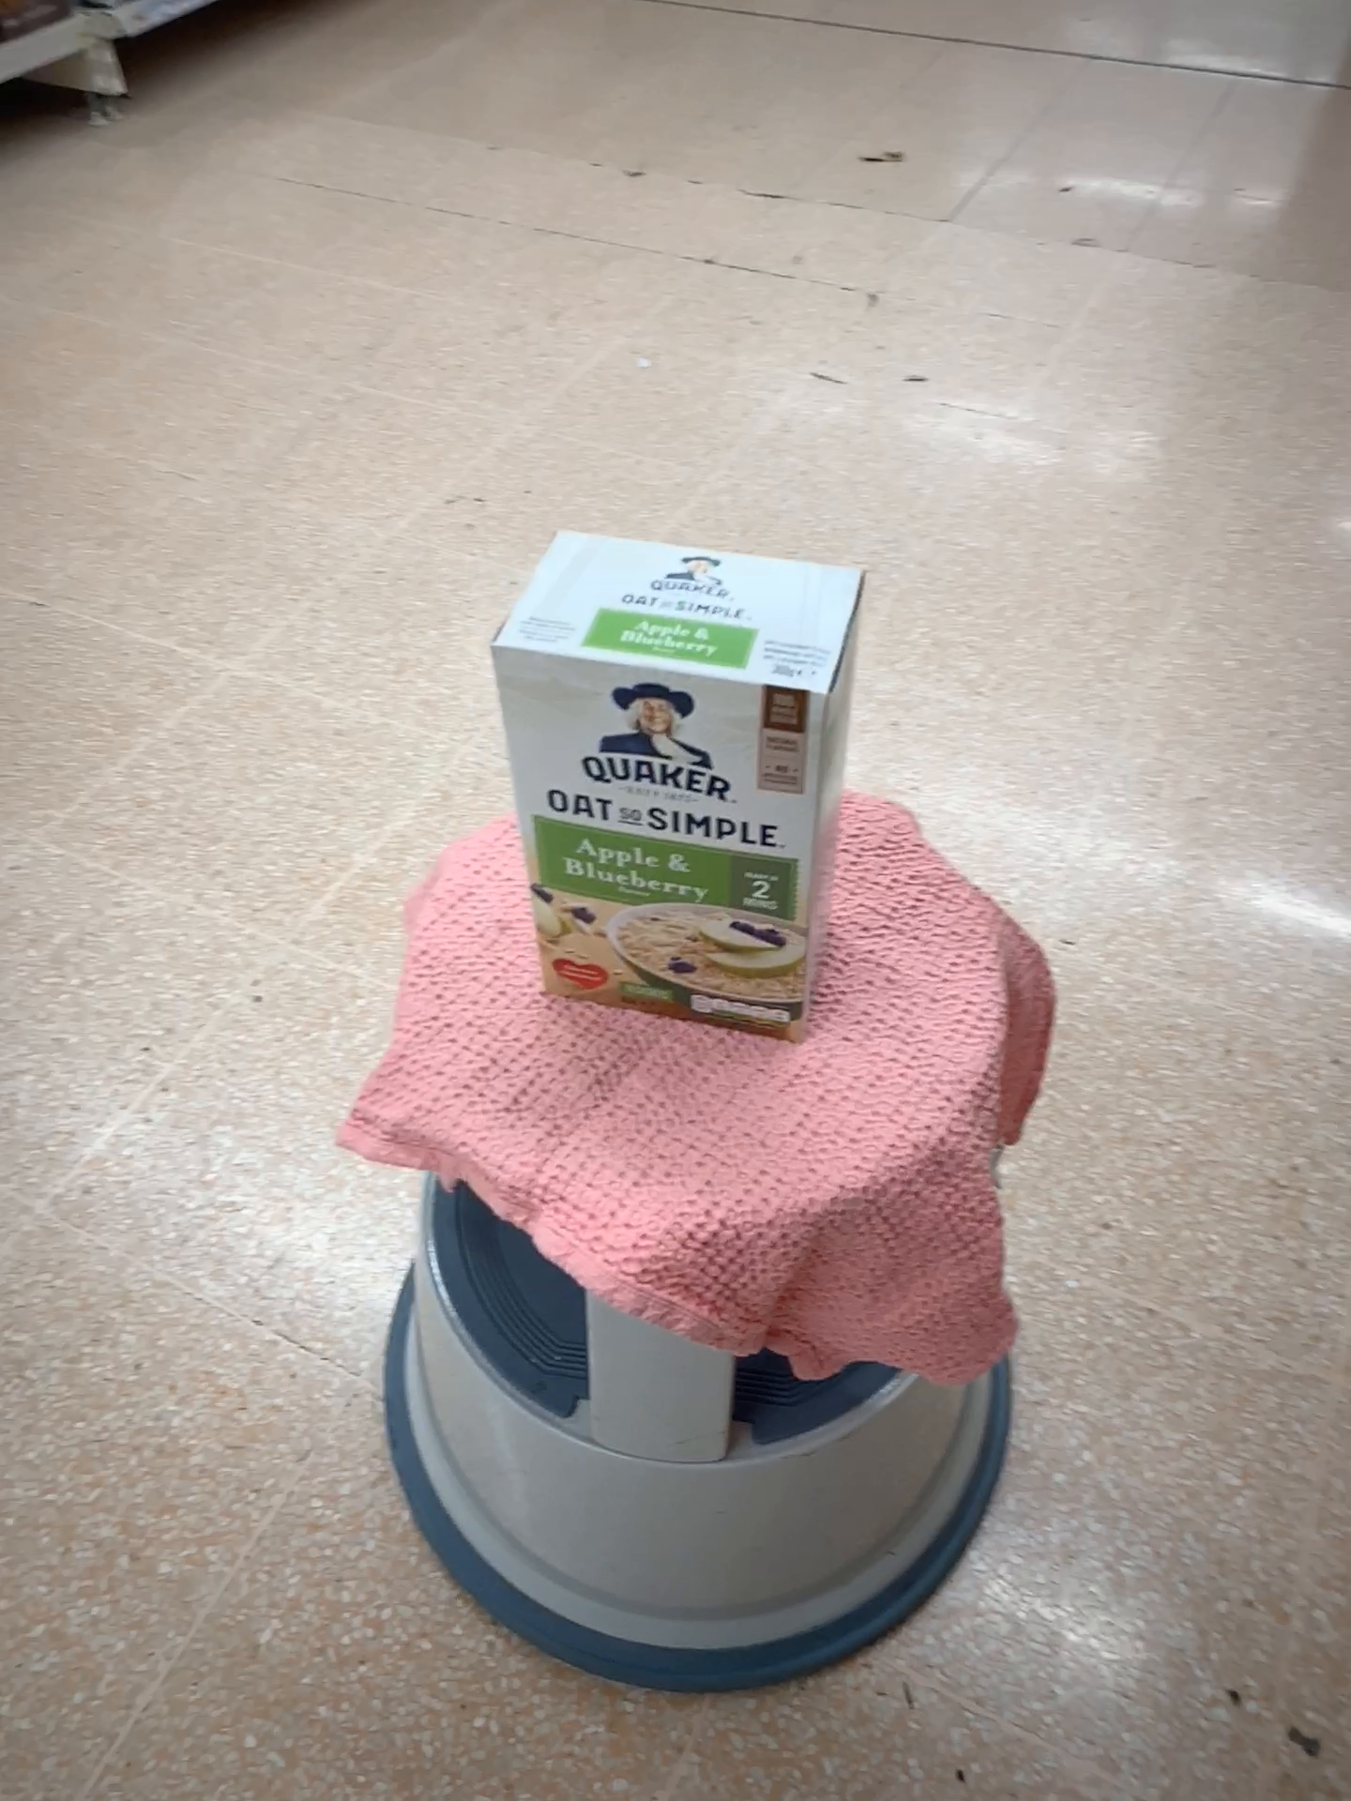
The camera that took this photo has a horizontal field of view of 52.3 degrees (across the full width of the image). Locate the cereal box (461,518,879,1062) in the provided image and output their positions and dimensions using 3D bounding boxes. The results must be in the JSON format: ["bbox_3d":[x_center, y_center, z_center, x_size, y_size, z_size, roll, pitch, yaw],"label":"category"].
[{"bbox_3d":[0.002,-0.042,0.597,0.140,0.208,0.091,10,48,11],"label":"cereal box"}]
